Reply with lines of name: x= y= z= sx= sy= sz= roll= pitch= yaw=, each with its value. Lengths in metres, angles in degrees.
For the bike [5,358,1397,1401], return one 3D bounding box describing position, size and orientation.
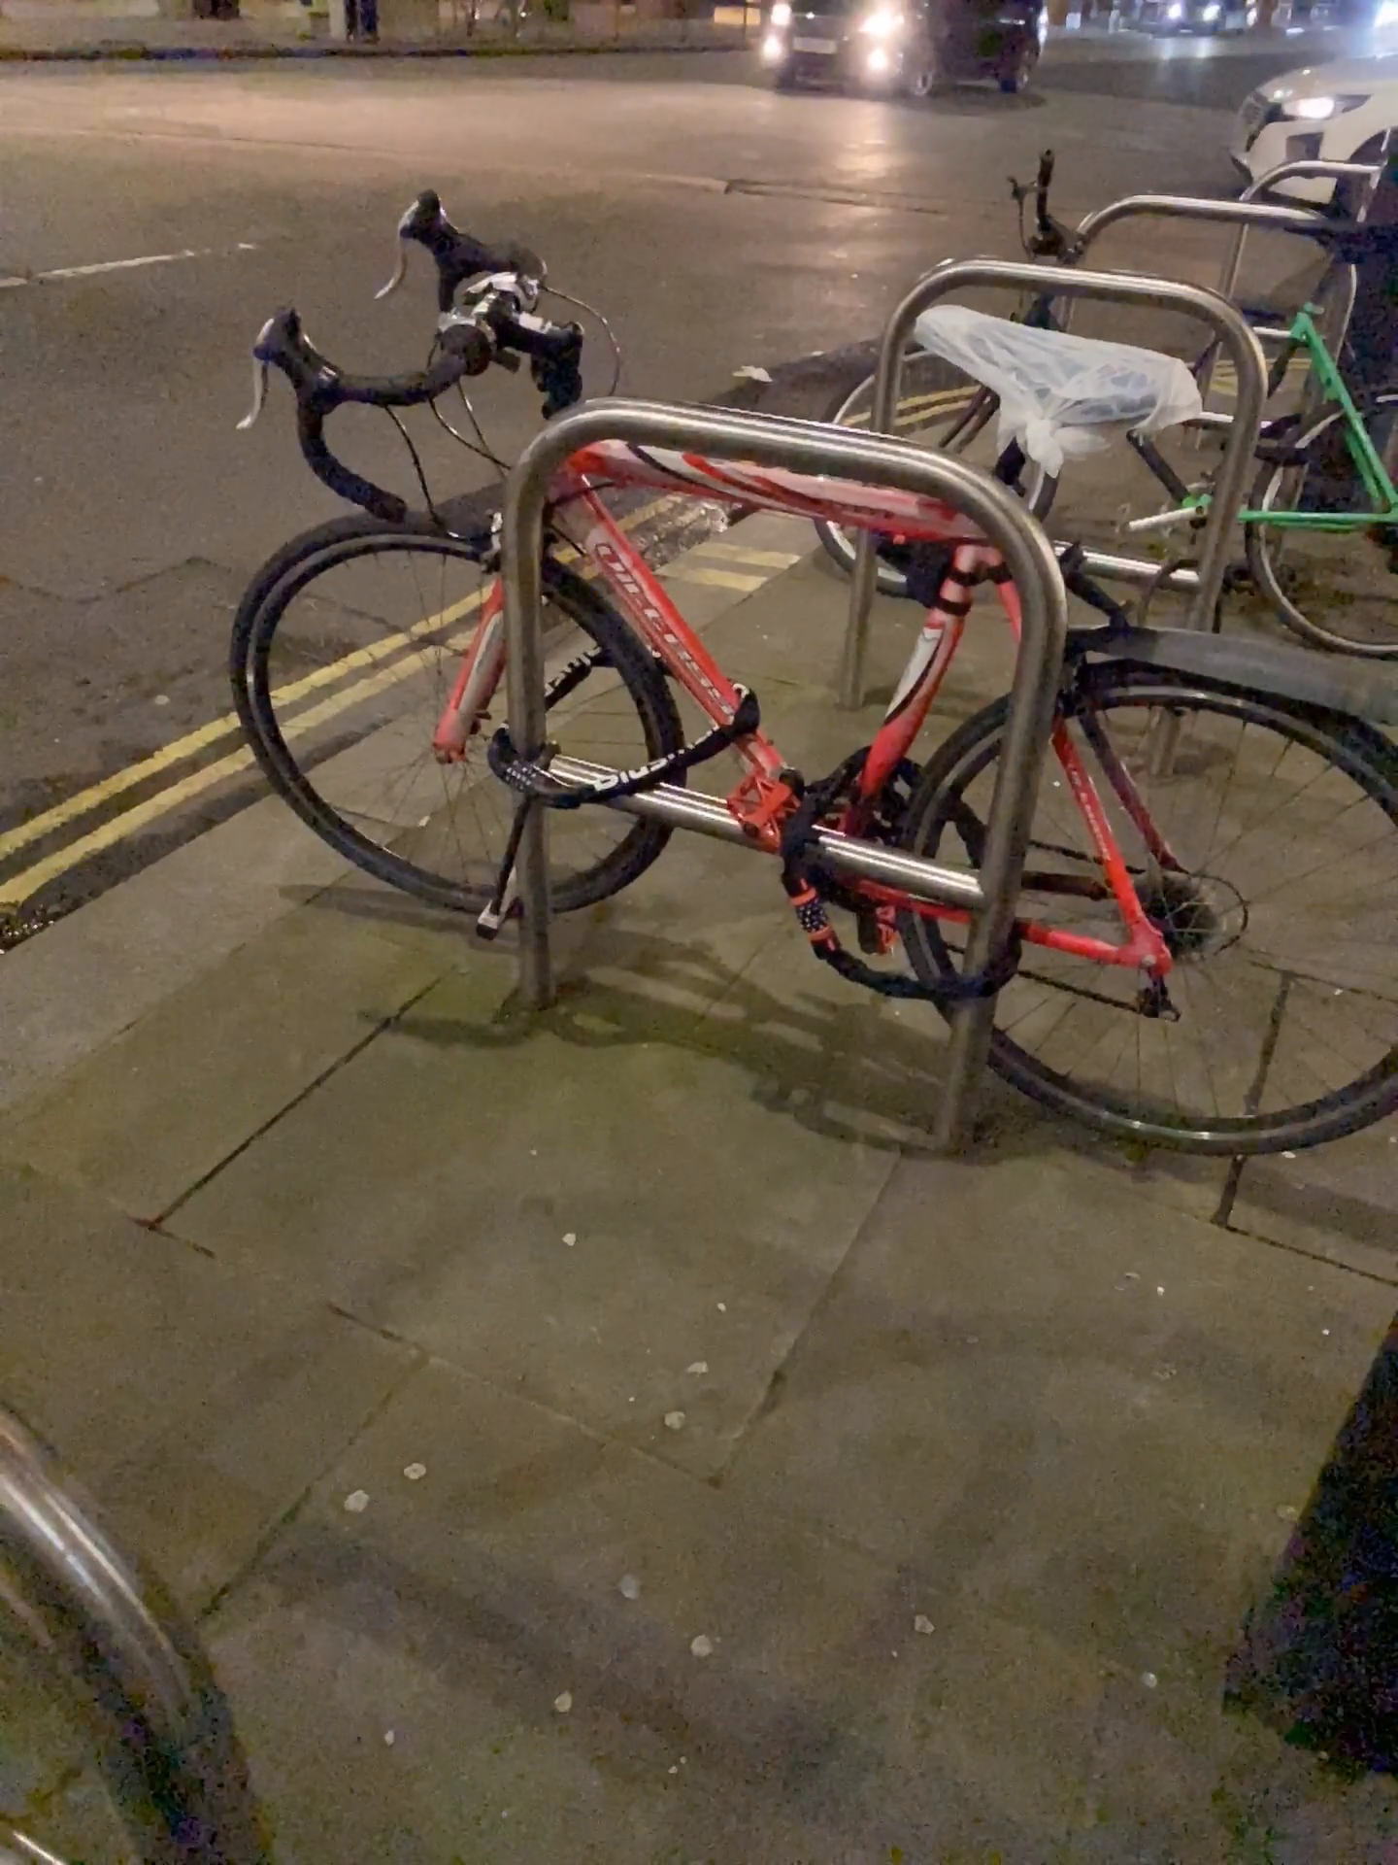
bike: x=0.048 y=-0.161 z=1.805 sx=1.661 sy=0.809 sz=0.540 roll=16 pitch=36 yaw=20
